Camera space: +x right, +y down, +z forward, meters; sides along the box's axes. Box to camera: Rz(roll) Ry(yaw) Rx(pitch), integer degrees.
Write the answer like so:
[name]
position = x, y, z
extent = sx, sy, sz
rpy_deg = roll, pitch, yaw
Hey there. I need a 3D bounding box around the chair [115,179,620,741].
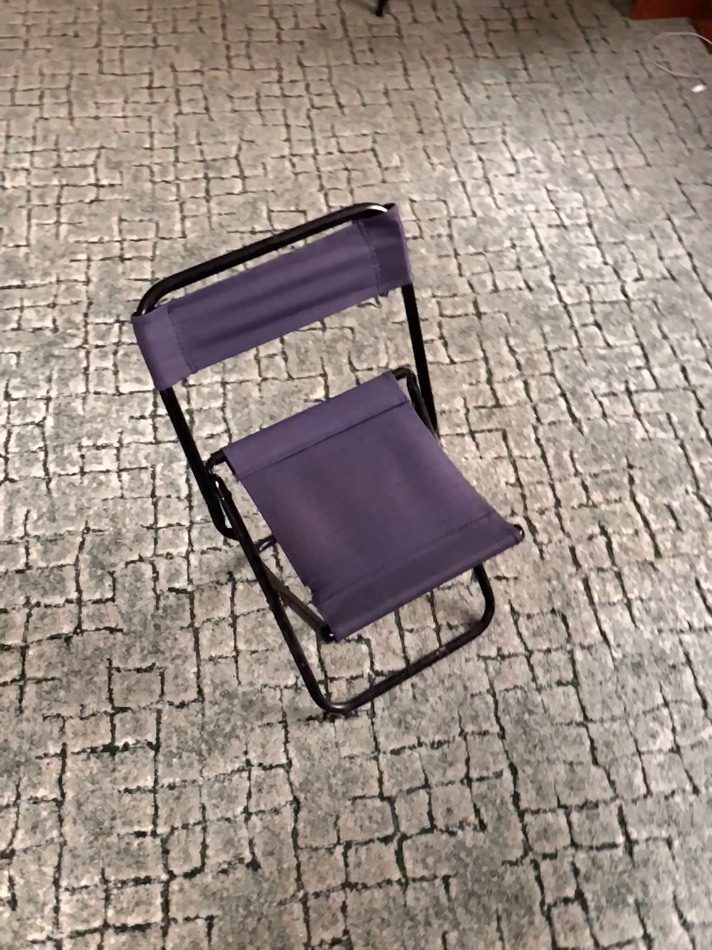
[chair]
position = -0.010, 0.015, 1.002
extent = 0.342, 0.537, 0.399
rpy_deg = -27, 64, -17
